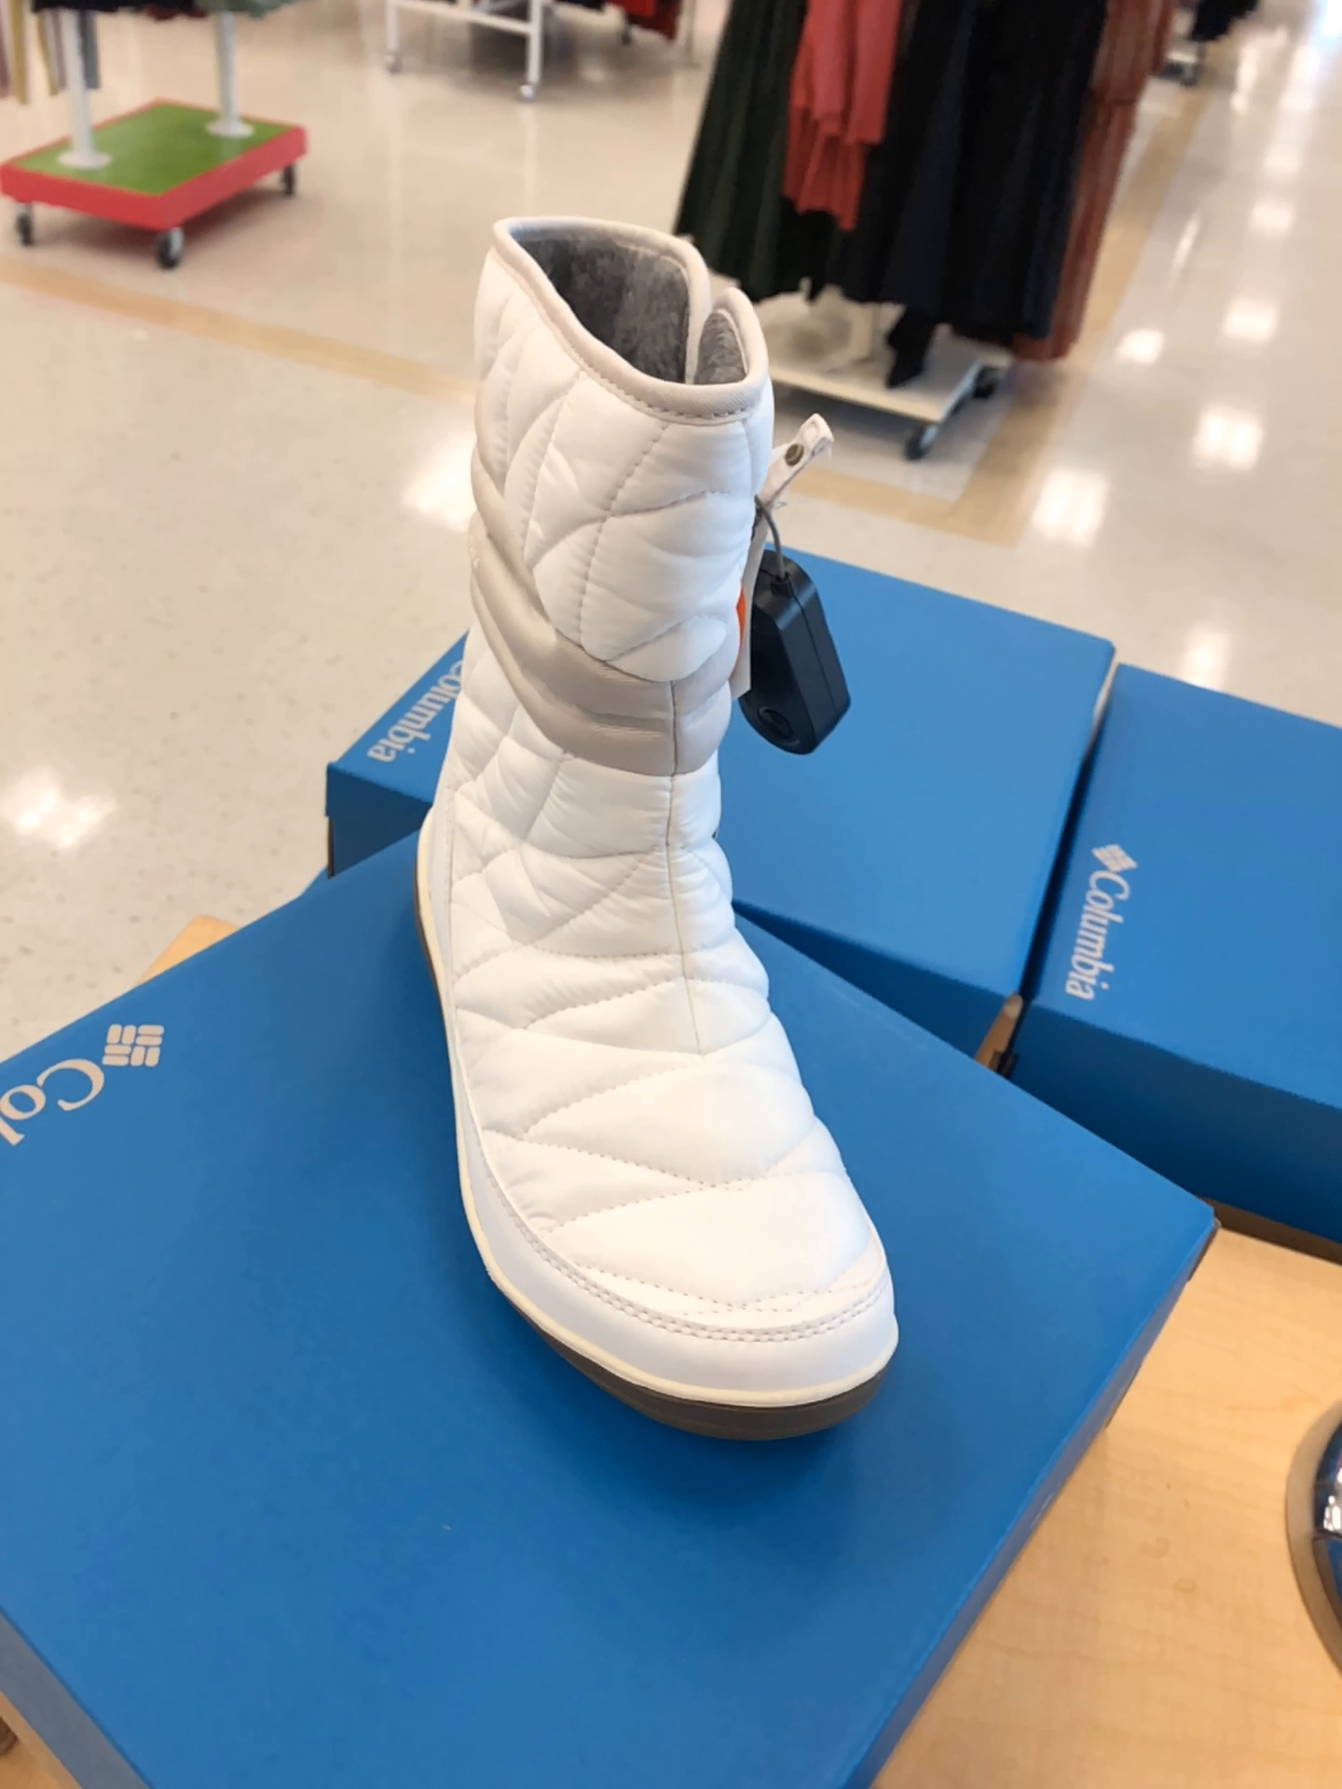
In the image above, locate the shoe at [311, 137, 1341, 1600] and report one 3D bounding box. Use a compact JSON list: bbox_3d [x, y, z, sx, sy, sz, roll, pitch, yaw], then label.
[{"bbox_3d":[-0.007,-0.022,0.362,0.104,0.228,0.262,-9,43,-20],"label":"shoe"}]
